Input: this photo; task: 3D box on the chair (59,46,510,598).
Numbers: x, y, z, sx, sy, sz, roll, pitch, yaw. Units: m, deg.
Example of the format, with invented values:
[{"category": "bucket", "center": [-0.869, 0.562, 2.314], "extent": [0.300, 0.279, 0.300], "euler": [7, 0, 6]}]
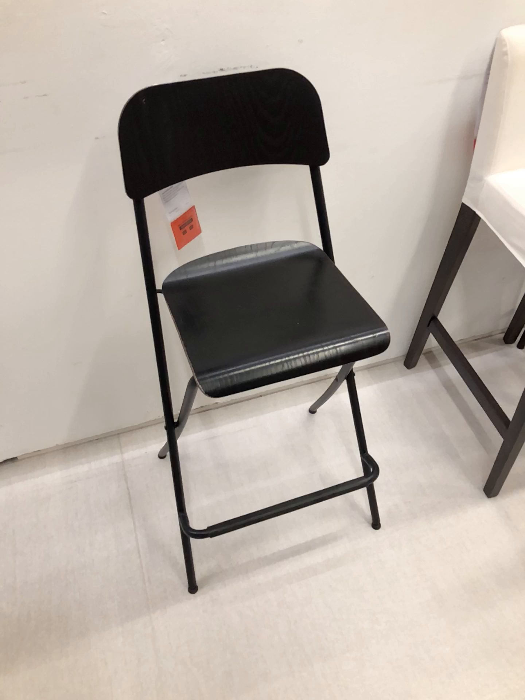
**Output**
[{"category": "chair", "center": [0.001, -0.005, 1.114], "extent": [0.490, 0.884, 0.473], "euler": [-15, 47, -13]}]
